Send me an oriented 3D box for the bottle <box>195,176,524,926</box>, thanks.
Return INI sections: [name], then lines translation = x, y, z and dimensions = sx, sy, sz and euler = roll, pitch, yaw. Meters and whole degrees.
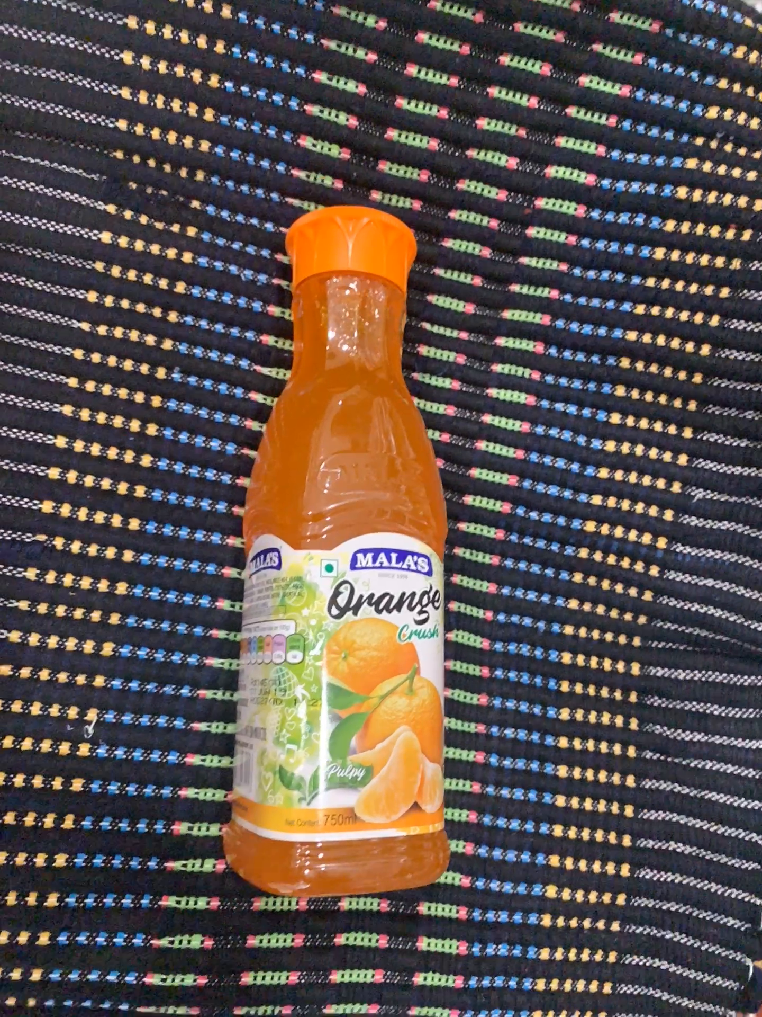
[bottle]
translation = -0.007, 0.013, 0.279
dimensions = 0.080, 0.080, 0.220
euler = 8, 75, -24
